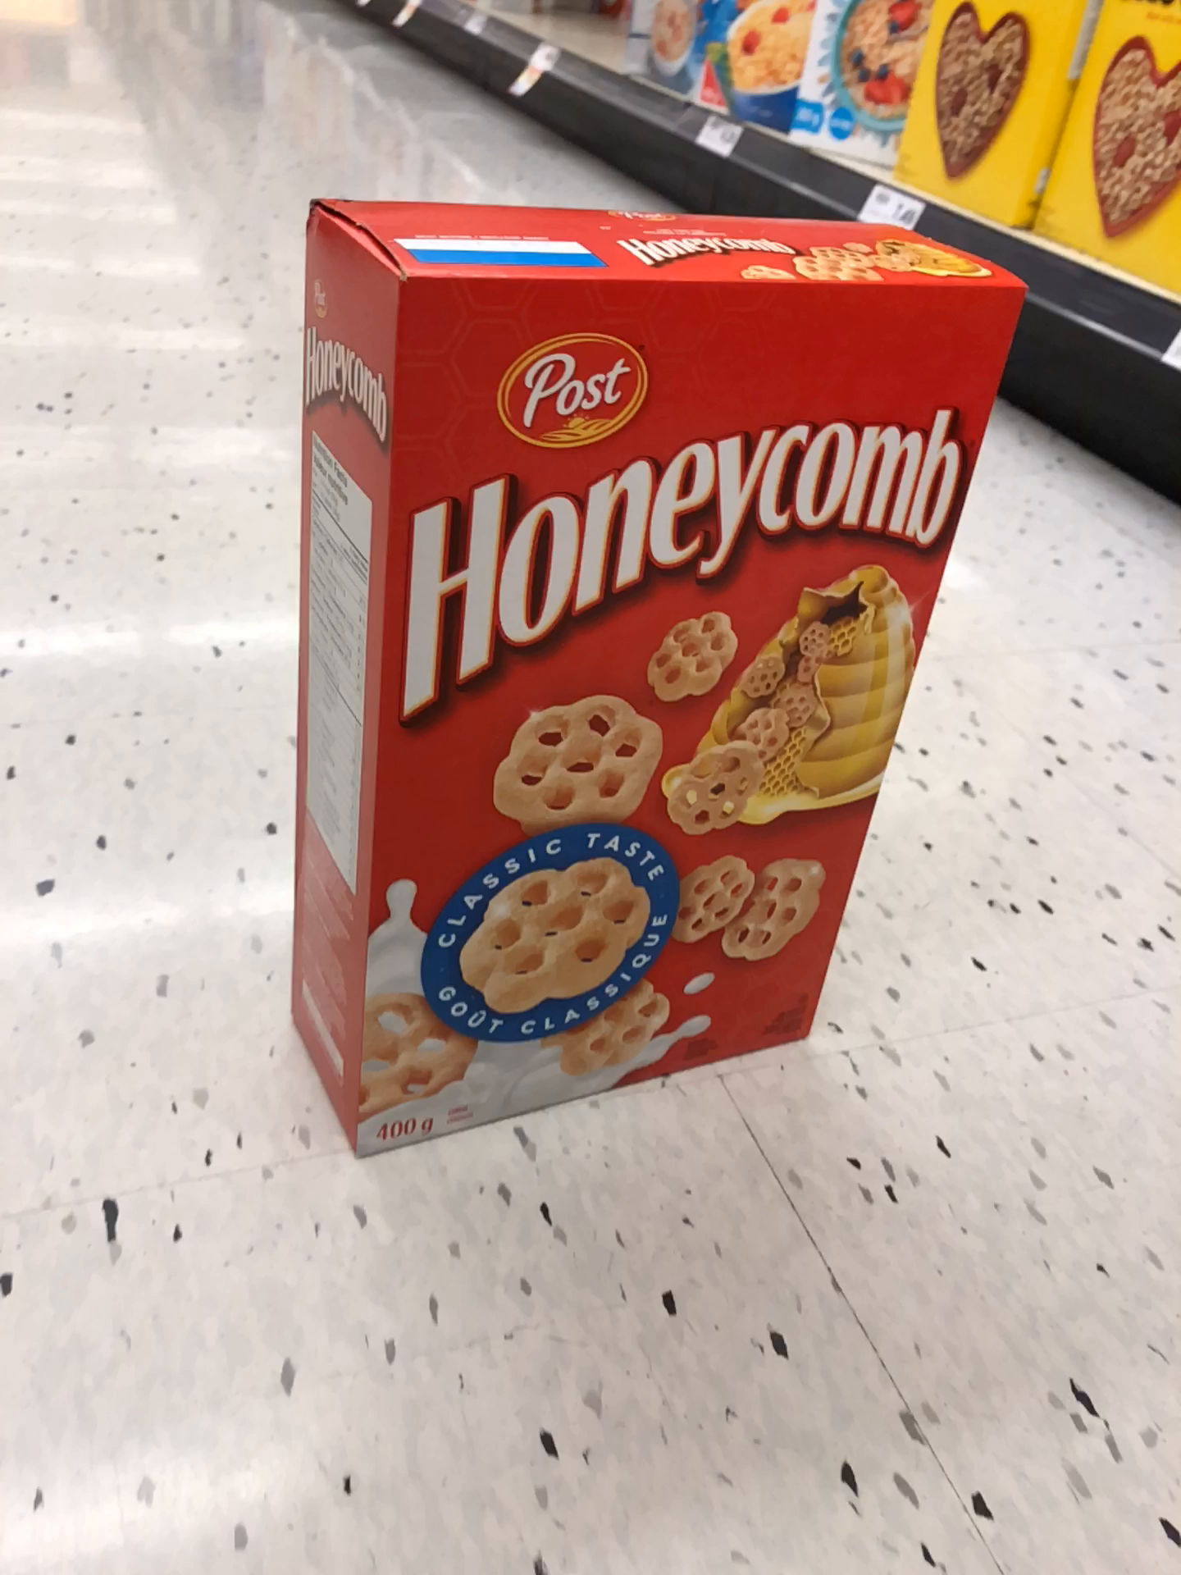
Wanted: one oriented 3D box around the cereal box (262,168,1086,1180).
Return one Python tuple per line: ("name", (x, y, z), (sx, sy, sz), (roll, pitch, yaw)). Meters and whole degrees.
("cereal box", (0.006, -0.030, 0.437), (0.210, 0.298, 0.090), (-9, 38, -25))
